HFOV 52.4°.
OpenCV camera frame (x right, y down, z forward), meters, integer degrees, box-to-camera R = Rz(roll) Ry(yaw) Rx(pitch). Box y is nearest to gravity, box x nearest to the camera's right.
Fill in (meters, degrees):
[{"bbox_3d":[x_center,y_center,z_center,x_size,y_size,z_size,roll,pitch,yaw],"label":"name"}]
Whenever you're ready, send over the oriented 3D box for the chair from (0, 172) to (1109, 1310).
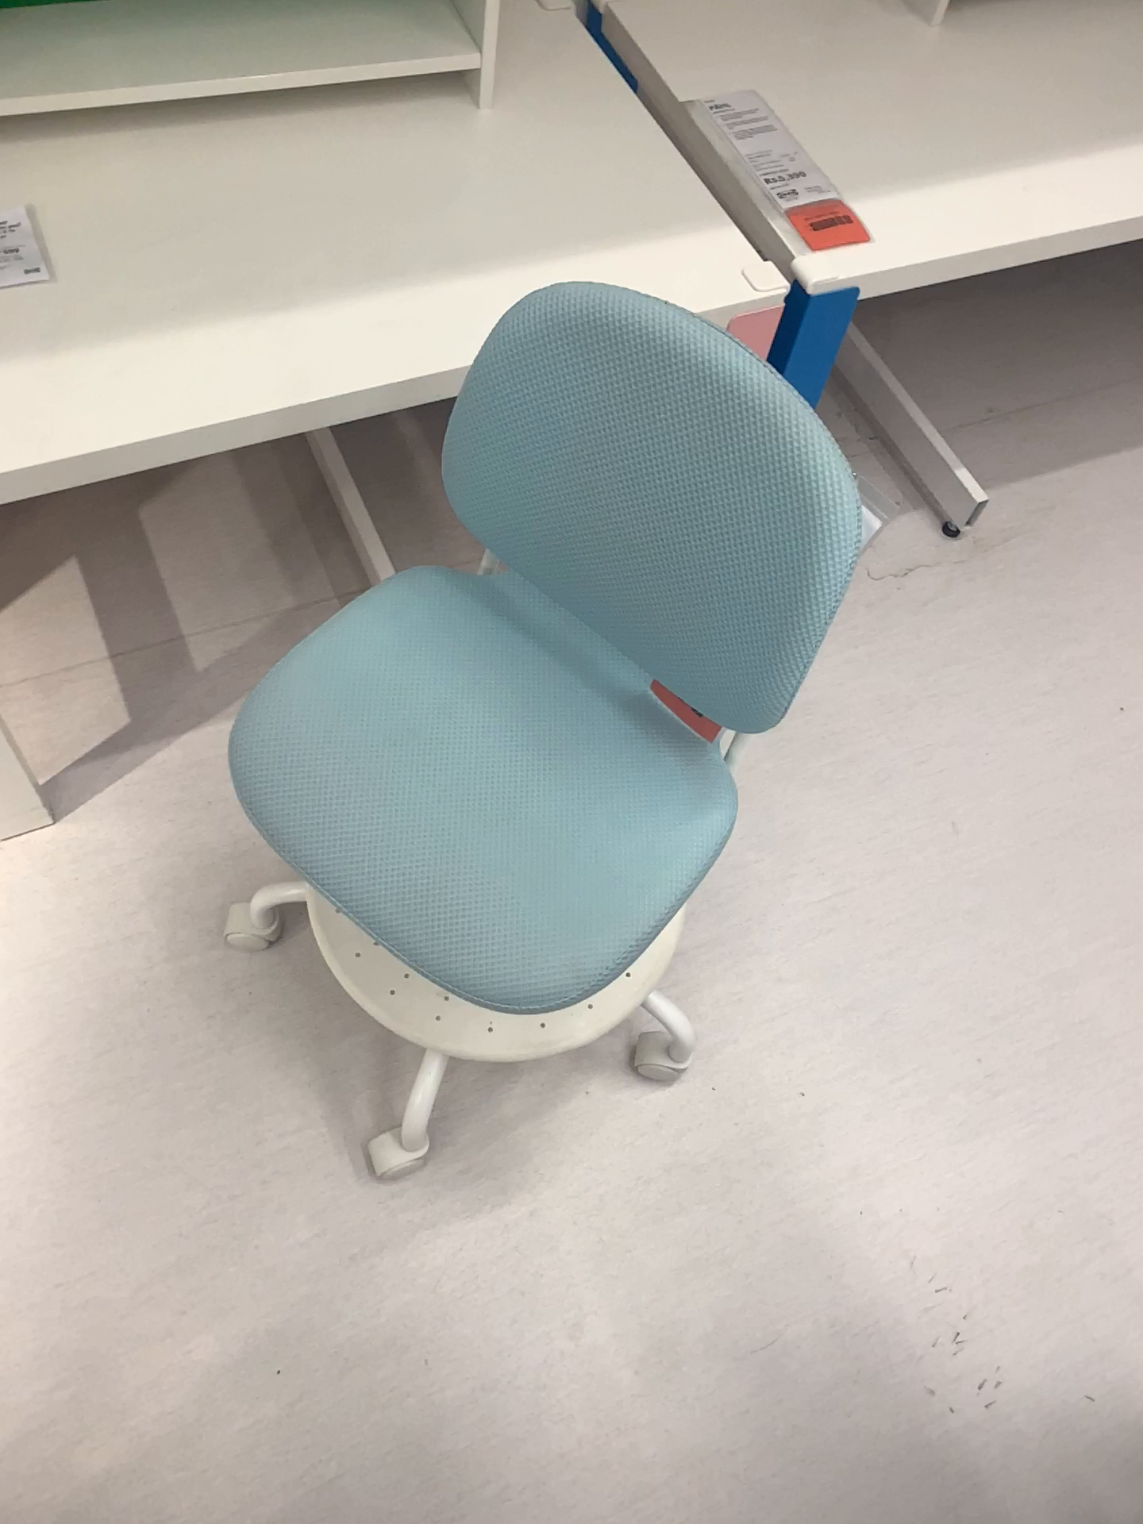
[{"bbox_3d":[-0.052,0.021,1.094,0.580,0.679,0.611,38,62,14],"label":"chair"}]
